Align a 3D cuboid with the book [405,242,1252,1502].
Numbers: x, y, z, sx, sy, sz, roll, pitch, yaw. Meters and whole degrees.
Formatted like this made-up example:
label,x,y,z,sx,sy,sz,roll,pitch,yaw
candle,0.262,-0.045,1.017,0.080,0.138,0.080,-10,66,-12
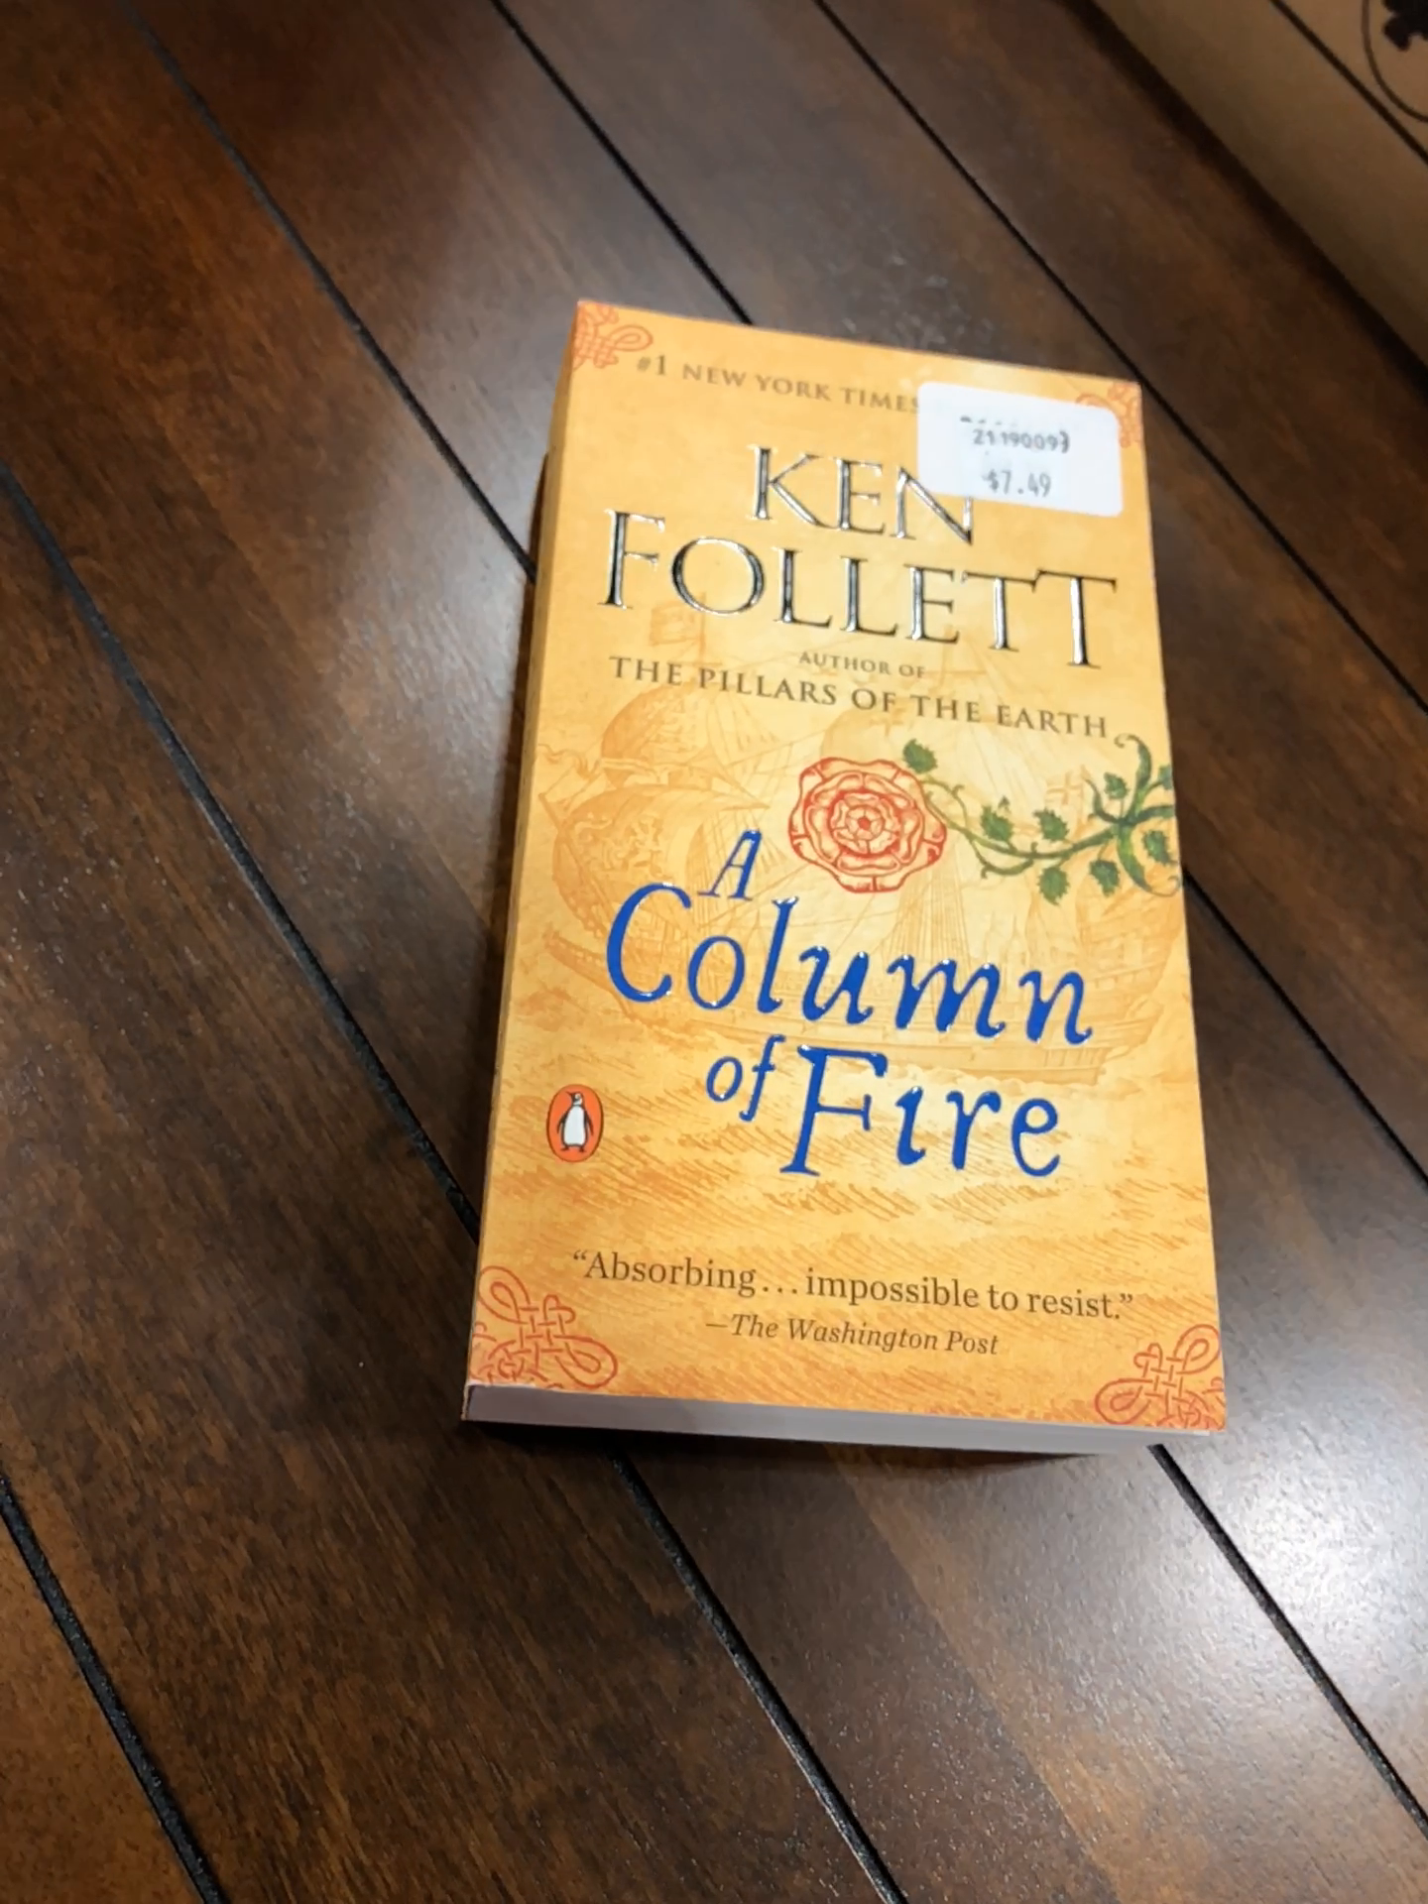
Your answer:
label,x,y,z,sx,sy,sz,roll,pitch,yaw
book,0.017,-0.018,0.261,0.110,0.040,0.195,7,66,-9
